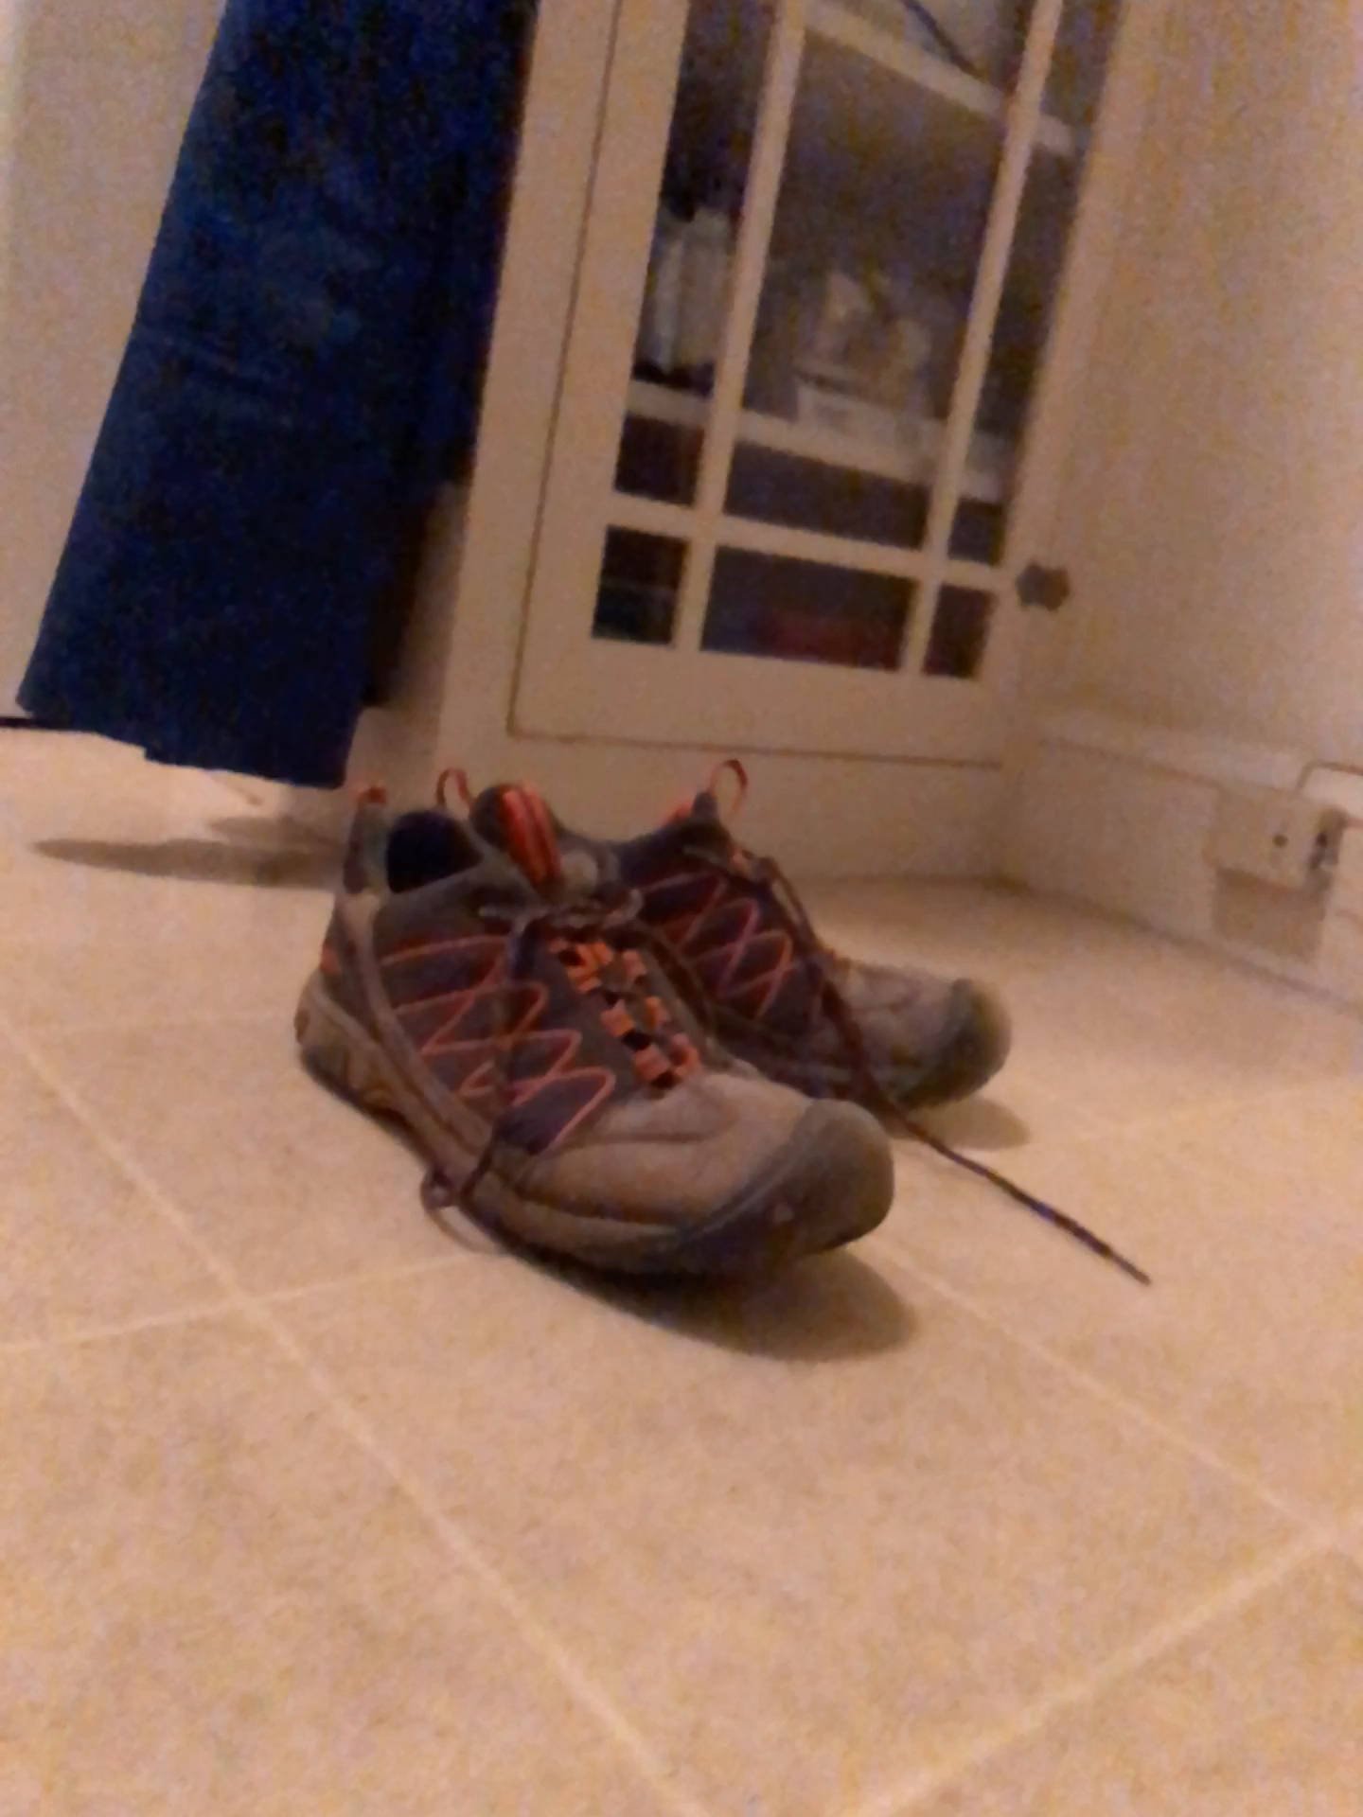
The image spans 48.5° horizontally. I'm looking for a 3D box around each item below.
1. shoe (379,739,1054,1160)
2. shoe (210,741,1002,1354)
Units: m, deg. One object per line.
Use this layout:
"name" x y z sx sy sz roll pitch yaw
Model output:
"shoe" 0.018 0.012 0.731 0.282 0.122 0.128 12 13 4
"shoe" -0.047 0.030 0.580 0.127 0.122 0.292 -2 18 -44
